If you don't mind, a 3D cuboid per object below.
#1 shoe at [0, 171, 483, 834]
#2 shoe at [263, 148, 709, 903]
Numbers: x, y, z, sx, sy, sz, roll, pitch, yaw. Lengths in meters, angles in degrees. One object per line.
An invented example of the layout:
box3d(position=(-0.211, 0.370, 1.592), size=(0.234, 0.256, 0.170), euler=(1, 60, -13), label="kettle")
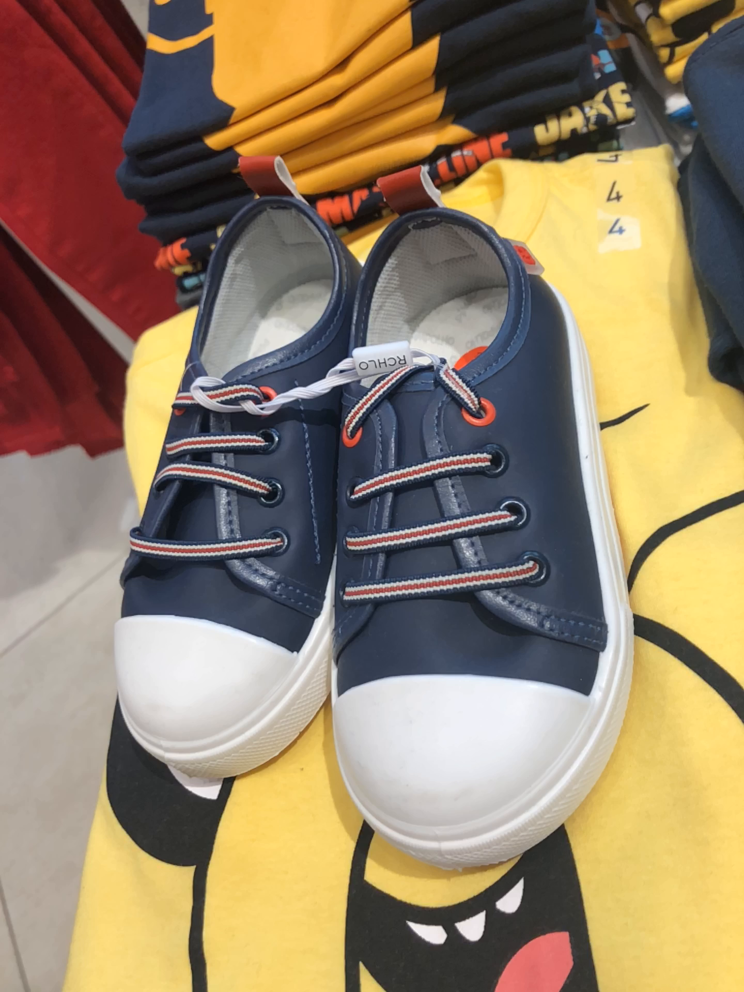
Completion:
box3d(position=(-0.031, 0.000, 0.239), size=(0.080, 0.070, 0.160), euler=(2, 67, 29), label="shoe")
box3d(position=(0.034, 0.008, 0.218), size=(0.080, 0.070, 0.171), euler=(-7, 63, 23), label="shoe")
